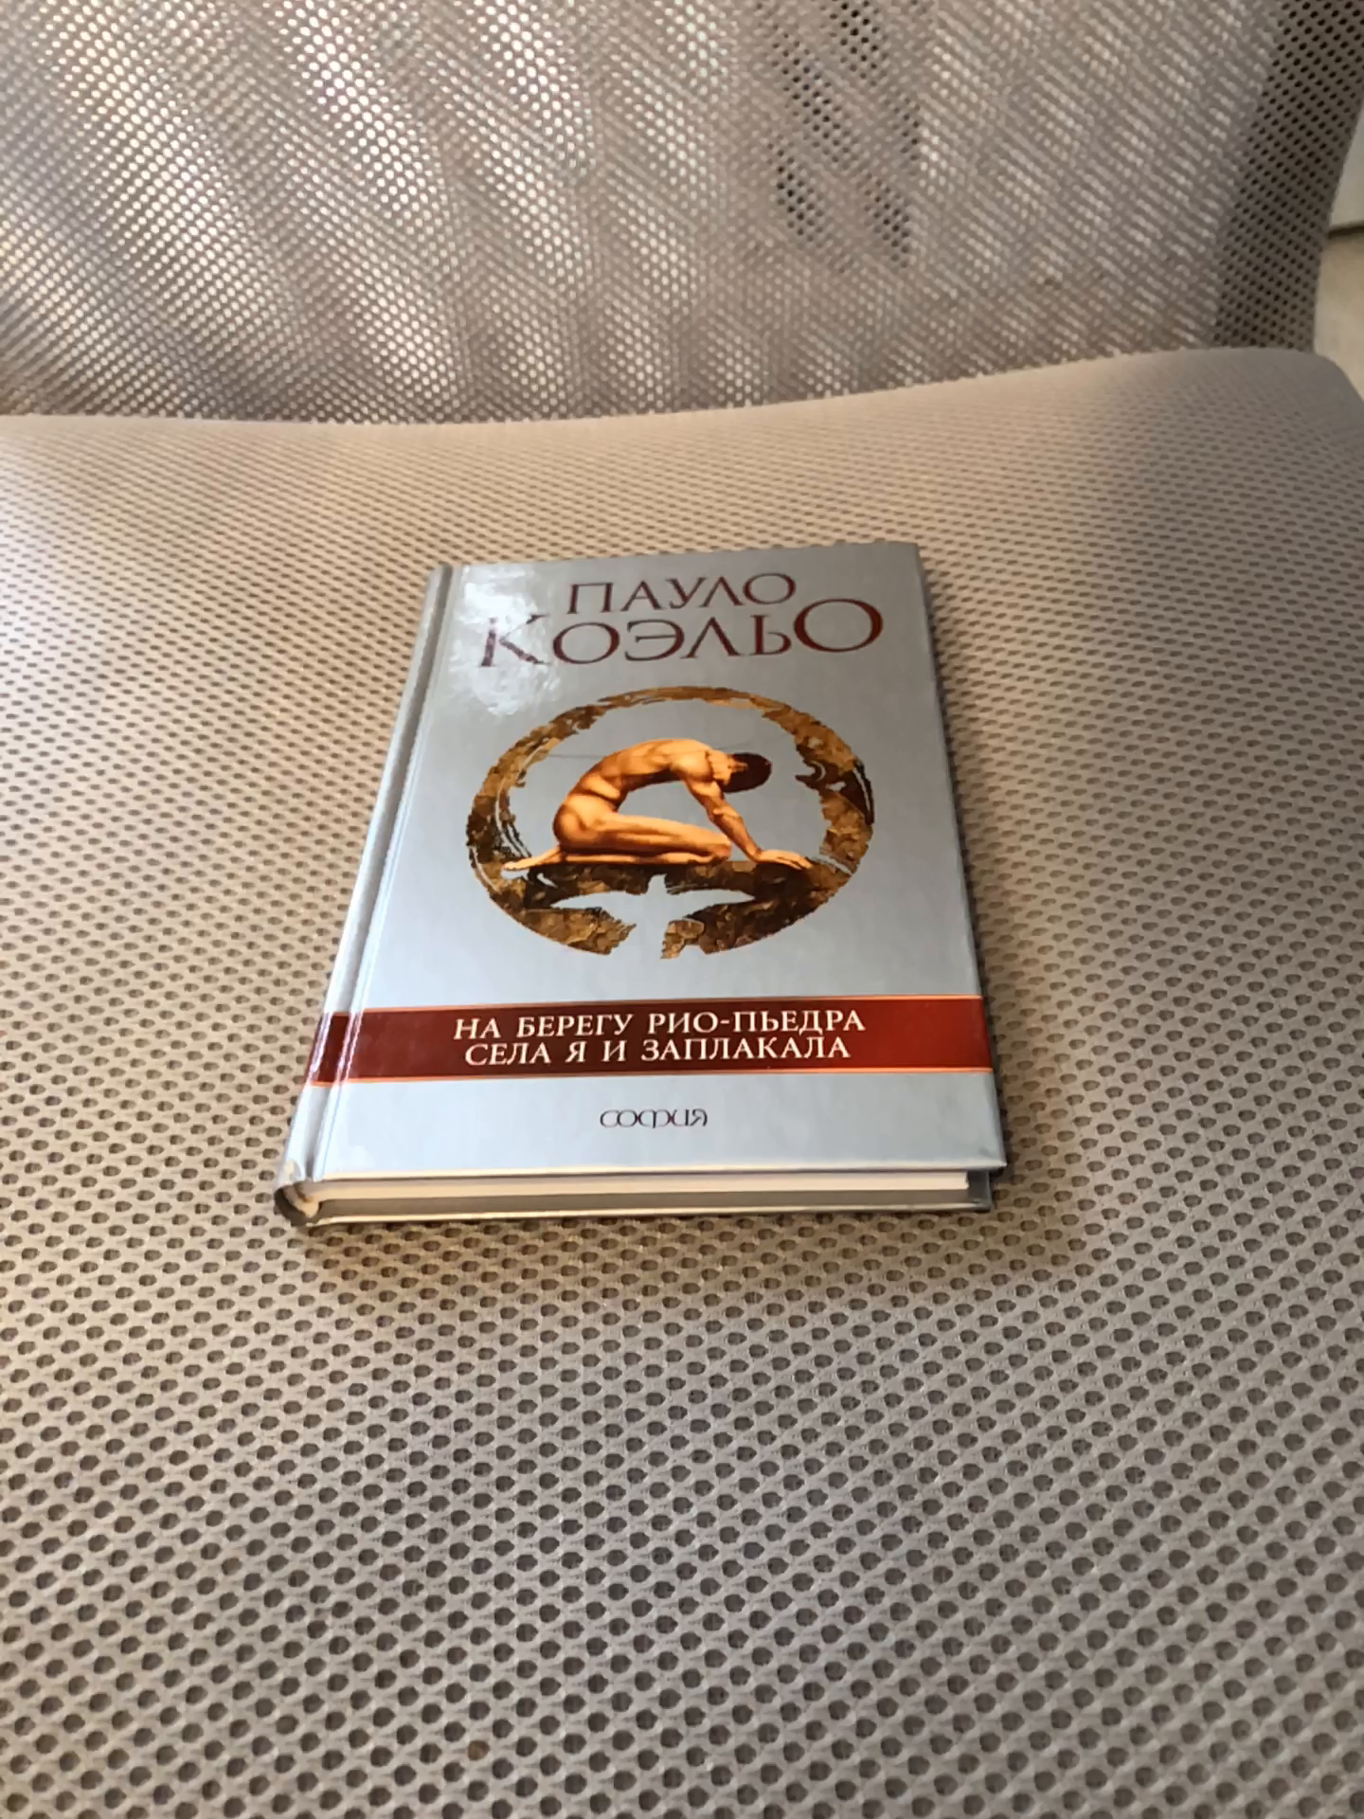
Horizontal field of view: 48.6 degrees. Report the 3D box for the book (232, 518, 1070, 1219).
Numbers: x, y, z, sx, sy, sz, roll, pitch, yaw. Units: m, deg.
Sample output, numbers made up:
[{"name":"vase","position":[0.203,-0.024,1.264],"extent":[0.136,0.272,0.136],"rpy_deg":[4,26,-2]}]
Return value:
[{"name":"book","position":[-0.003,-0.019,0.302],"extent":[0.131,0.020,0.174],"rpy_deg":[-1,47,3]}]
